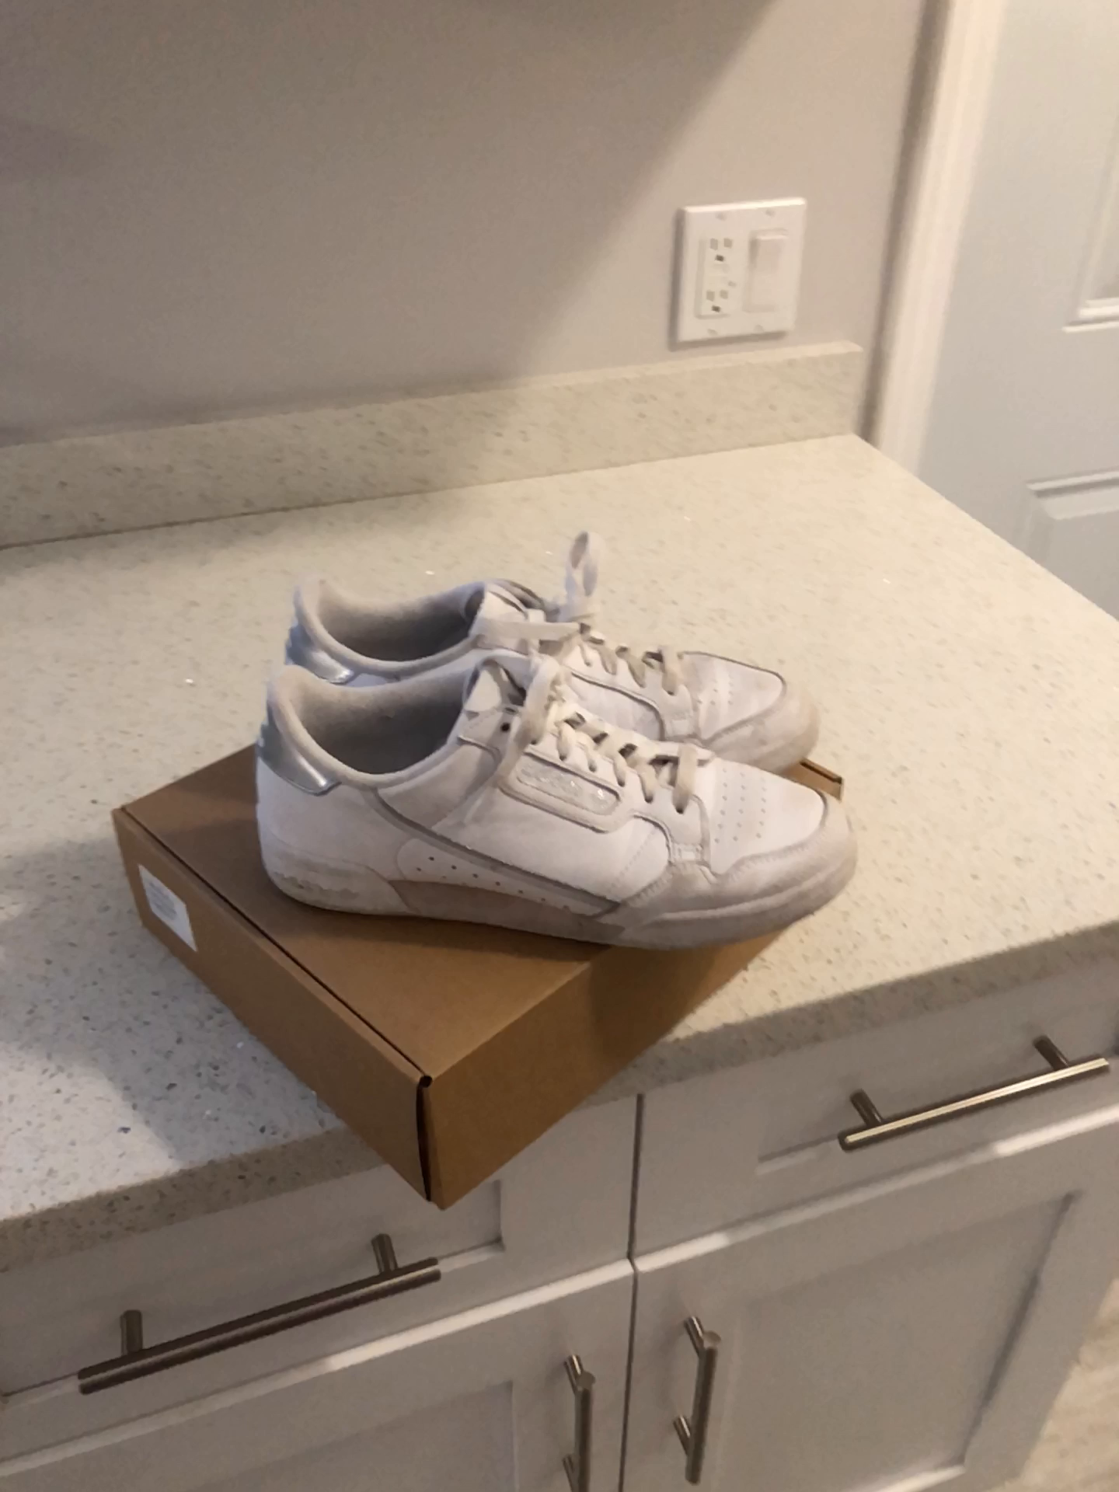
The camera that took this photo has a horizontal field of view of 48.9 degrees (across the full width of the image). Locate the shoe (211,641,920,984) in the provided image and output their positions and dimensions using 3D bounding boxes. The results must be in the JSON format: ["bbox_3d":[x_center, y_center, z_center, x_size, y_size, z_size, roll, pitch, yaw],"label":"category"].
[{"bbox_3d":[0.003,0.027,0.538,0.268,0.100,0.108,1,36,1],"label":"shoe"}]

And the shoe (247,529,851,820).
[{"bbox_3d":[-0.004,-0.038,0.618,0.268,0.100,0.108,1,36,1],"label":"shoe"}]
